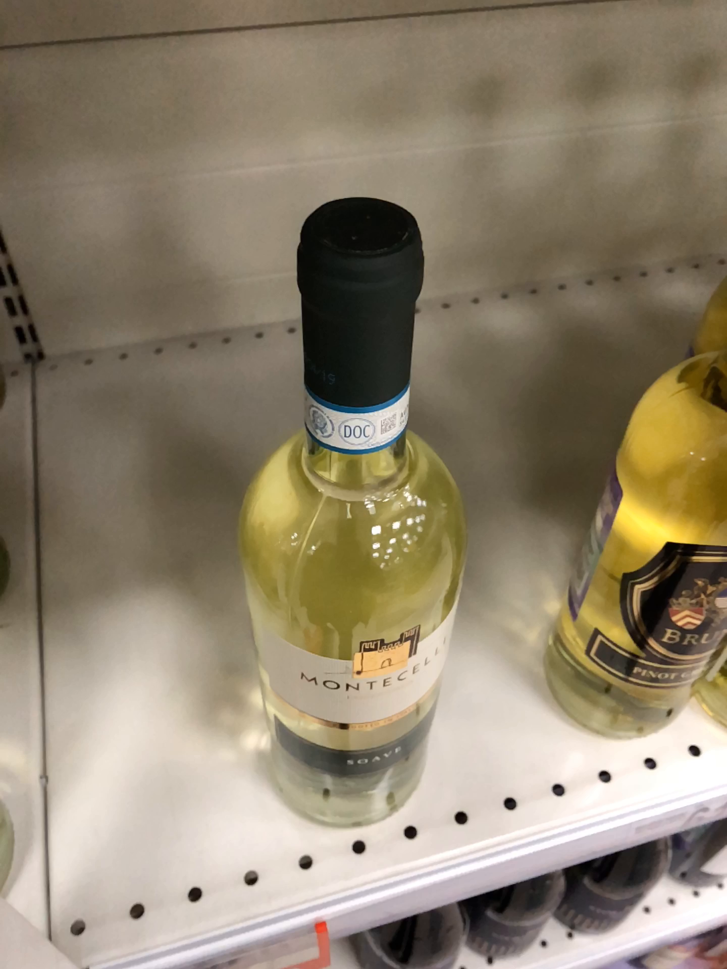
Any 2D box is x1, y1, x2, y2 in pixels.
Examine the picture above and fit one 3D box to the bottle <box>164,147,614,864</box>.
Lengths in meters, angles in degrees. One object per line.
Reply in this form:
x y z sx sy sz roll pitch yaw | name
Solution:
-0.001 0.041 0.285 0.080 0.284 0.070 -14 51 -14 | bottle
